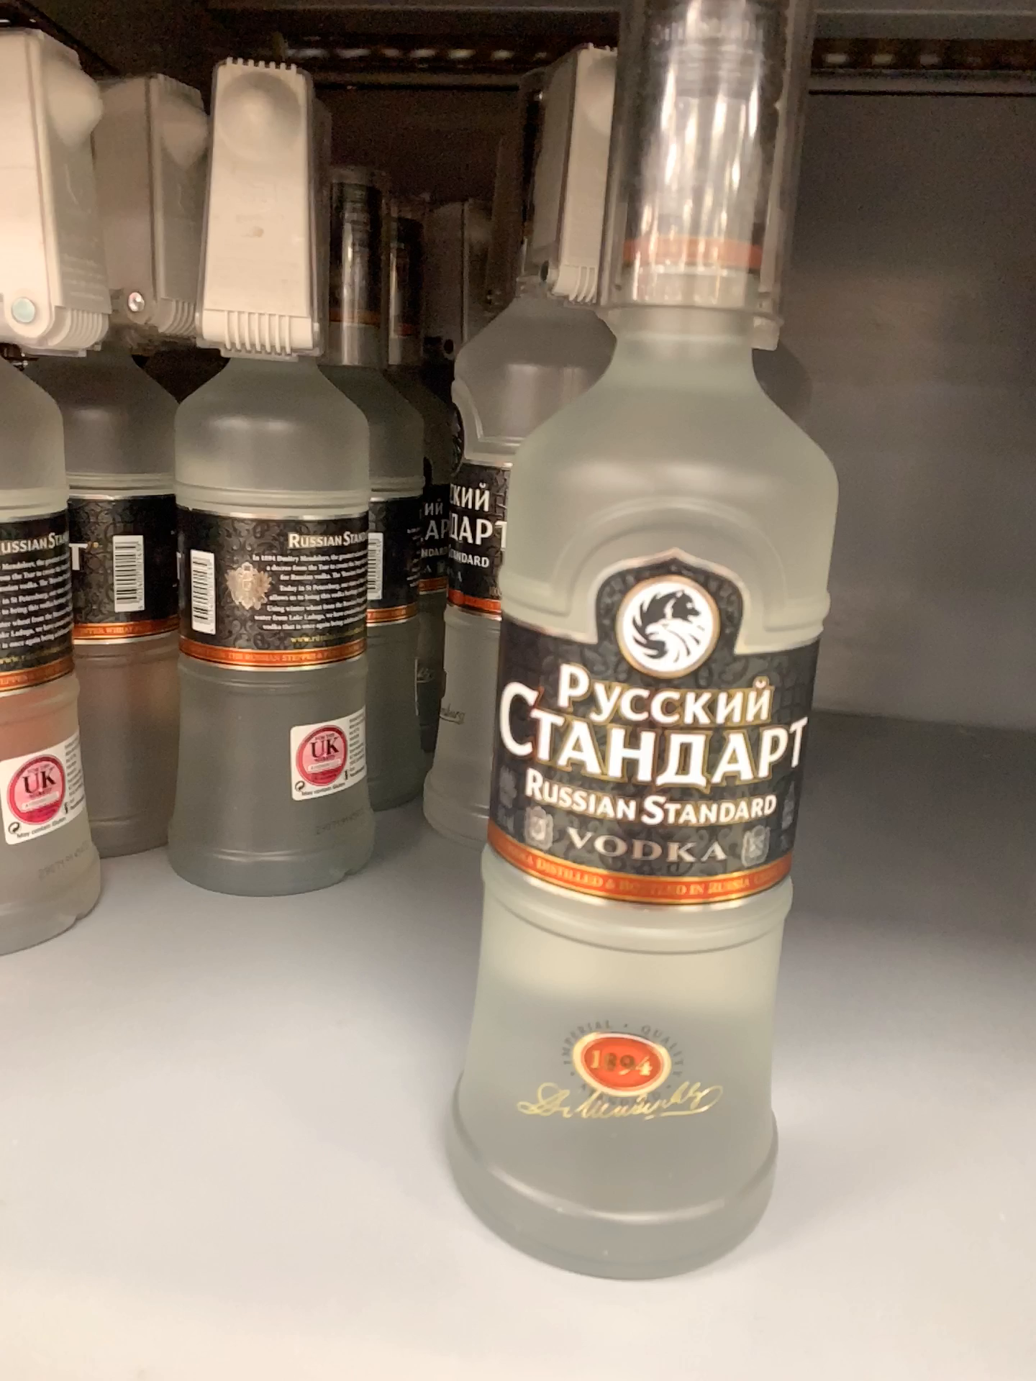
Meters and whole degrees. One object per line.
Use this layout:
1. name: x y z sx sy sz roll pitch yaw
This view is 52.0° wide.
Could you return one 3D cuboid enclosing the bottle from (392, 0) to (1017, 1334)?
1. bottle: 0.031 -0.016 0.245 0.092 0.288 0.088 3 14 -1
